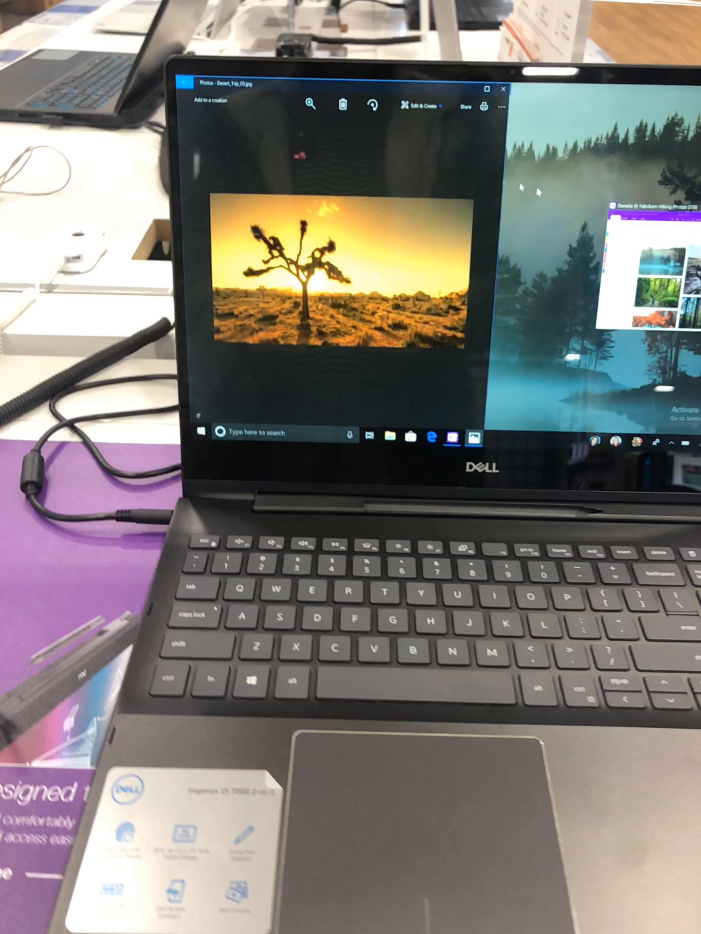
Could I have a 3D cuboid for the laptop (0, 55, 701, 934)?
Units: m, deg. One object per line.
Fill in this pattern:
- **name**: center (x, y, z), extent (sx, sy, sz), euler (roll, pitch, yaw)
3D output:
- **laptop**: center (0.075, -0.019, 0.324), extent (0.340, 0.207, 0.325), euler (1, 38, 0)
